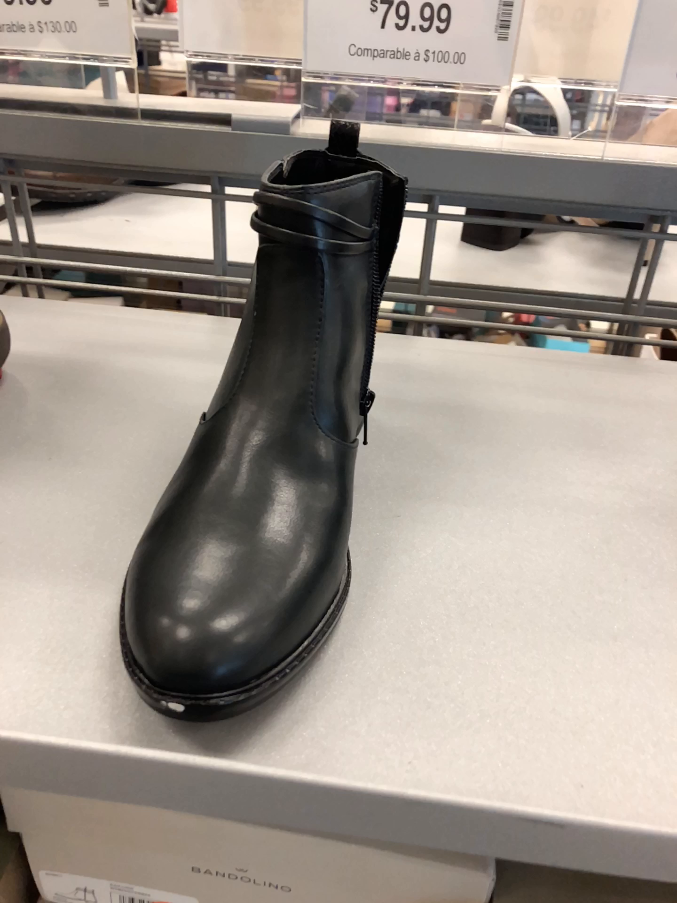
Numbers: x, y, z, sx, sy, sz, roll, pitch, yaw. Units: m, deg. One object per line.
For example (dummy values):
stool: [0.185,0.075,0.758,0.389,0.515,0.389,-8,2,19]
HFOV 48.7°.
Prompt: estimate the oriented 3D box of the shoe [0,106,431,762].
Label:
shoe: [-0.026,-0.034,0.295,0.090,0.149,0.232,8,33,7]
